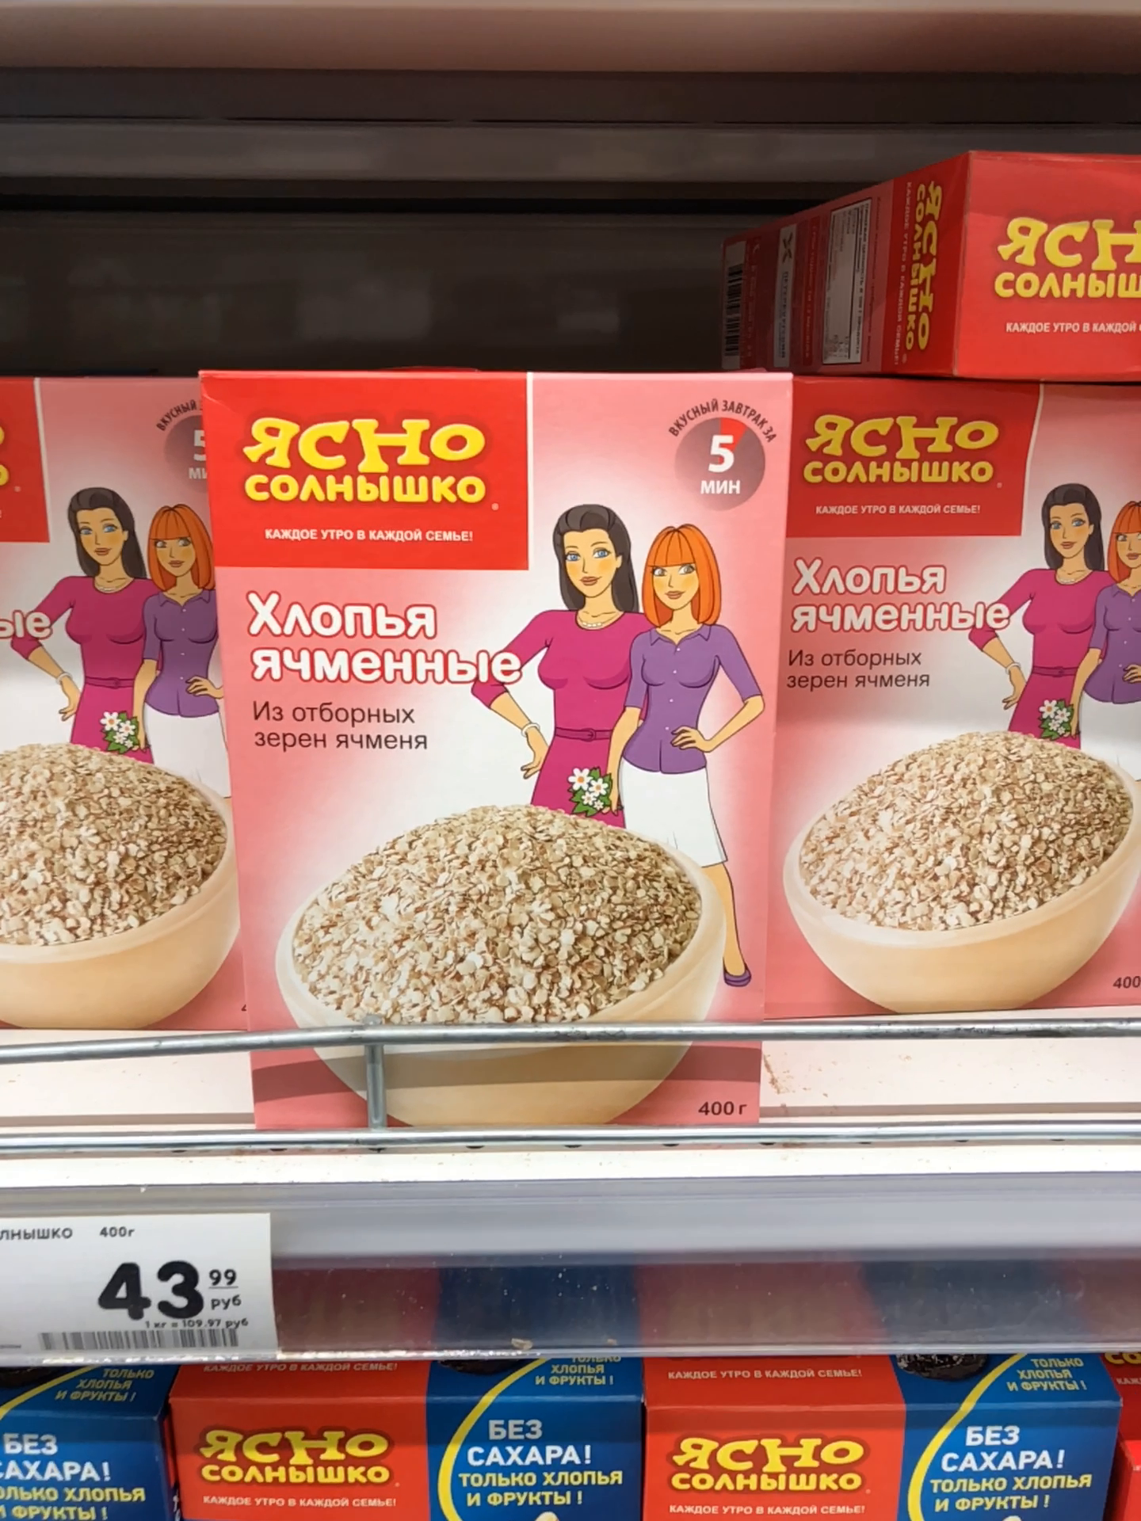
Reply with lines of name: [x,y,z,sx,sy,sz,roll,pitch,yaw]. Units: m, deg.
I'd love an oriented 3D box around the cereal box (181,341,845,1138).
cereal box: [-0.012,-0.004,0.315,0.140,0.189,0.050,0,16,1]
